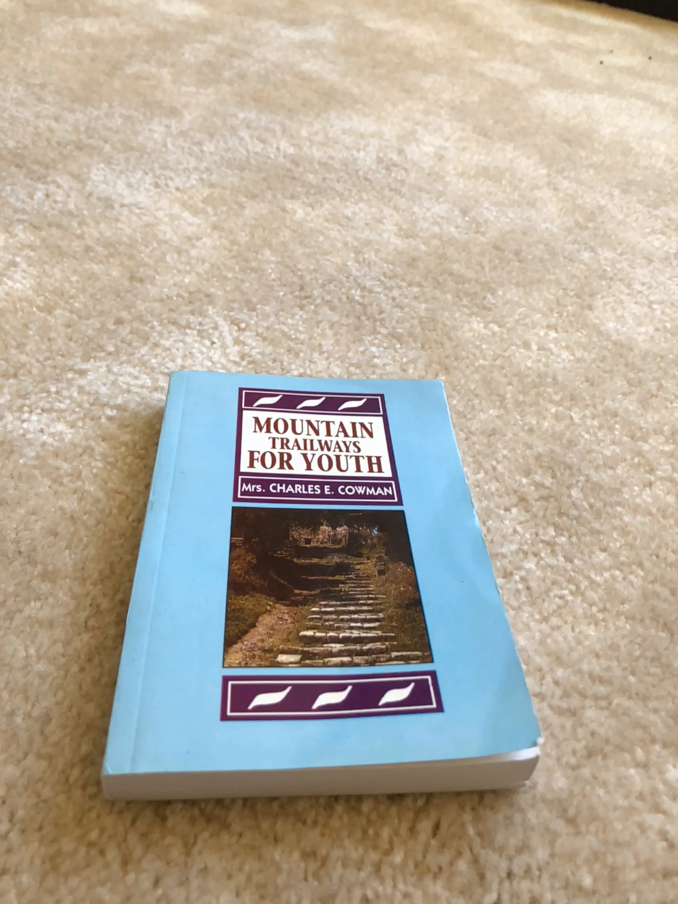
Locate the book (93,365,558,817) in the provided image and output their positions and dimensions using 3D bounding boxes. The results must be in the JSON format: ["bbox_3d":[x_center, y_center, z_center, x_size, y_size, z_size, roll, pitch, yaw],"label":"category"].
[{"bbox_3d":[-0.007,0.034,0.268,0.122,0.030,0.171,0,43,-5],"label":"book"}]
